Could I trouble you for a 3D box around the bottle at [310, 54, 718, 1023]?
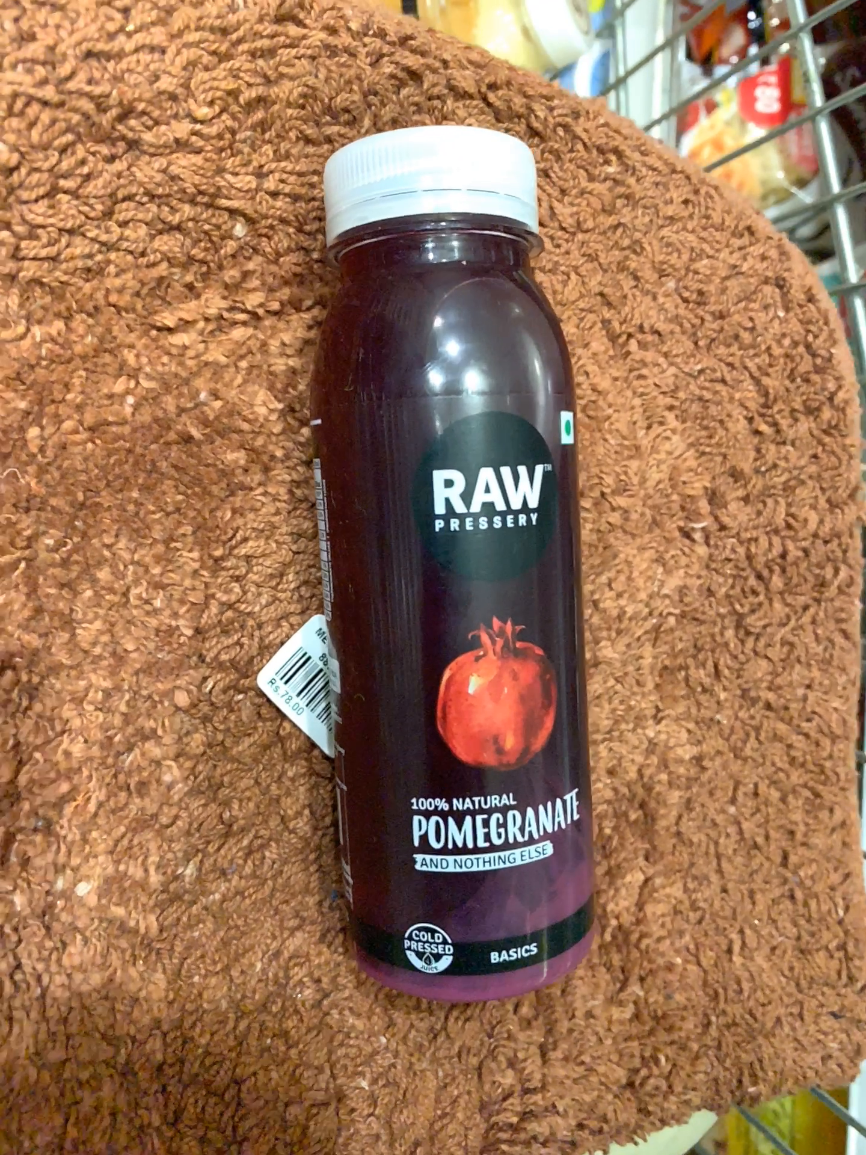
[{"bbox_3d":[0.010,-0.003,0.157,0.050,0.040,0.140,-6,105,-26],"label":"bottle"}]
